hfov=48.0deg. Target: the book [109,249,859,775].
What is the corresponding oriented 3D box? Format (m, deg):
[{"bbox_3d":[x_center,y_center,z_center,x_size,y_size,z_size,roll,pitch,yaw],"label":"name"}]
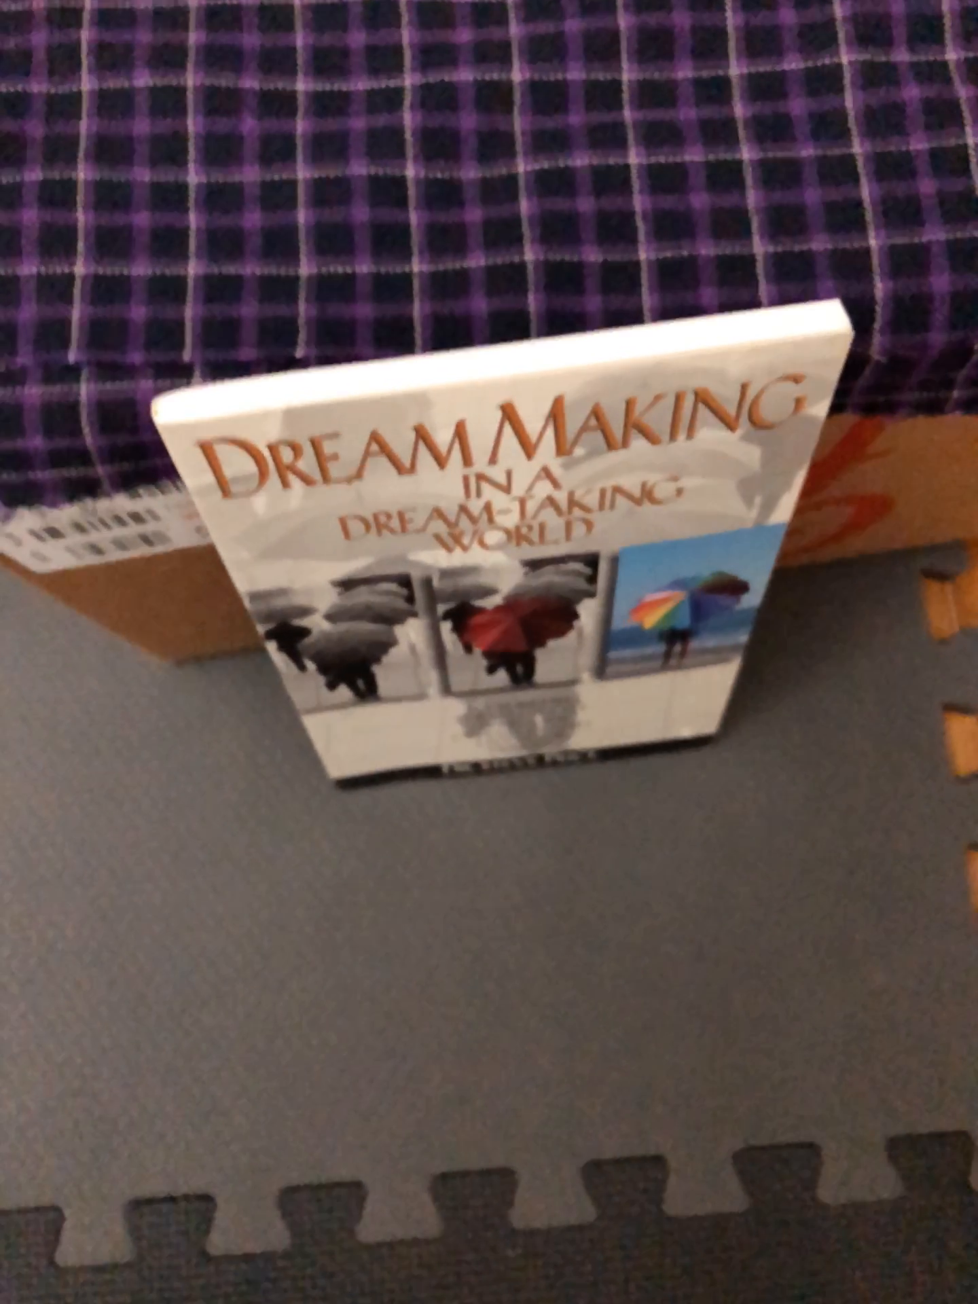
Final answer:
[{"bbox_3d":[0.004,-0.018,0.321,0.150,0.220,0.020,-5,63,1],"label":"book"}]
